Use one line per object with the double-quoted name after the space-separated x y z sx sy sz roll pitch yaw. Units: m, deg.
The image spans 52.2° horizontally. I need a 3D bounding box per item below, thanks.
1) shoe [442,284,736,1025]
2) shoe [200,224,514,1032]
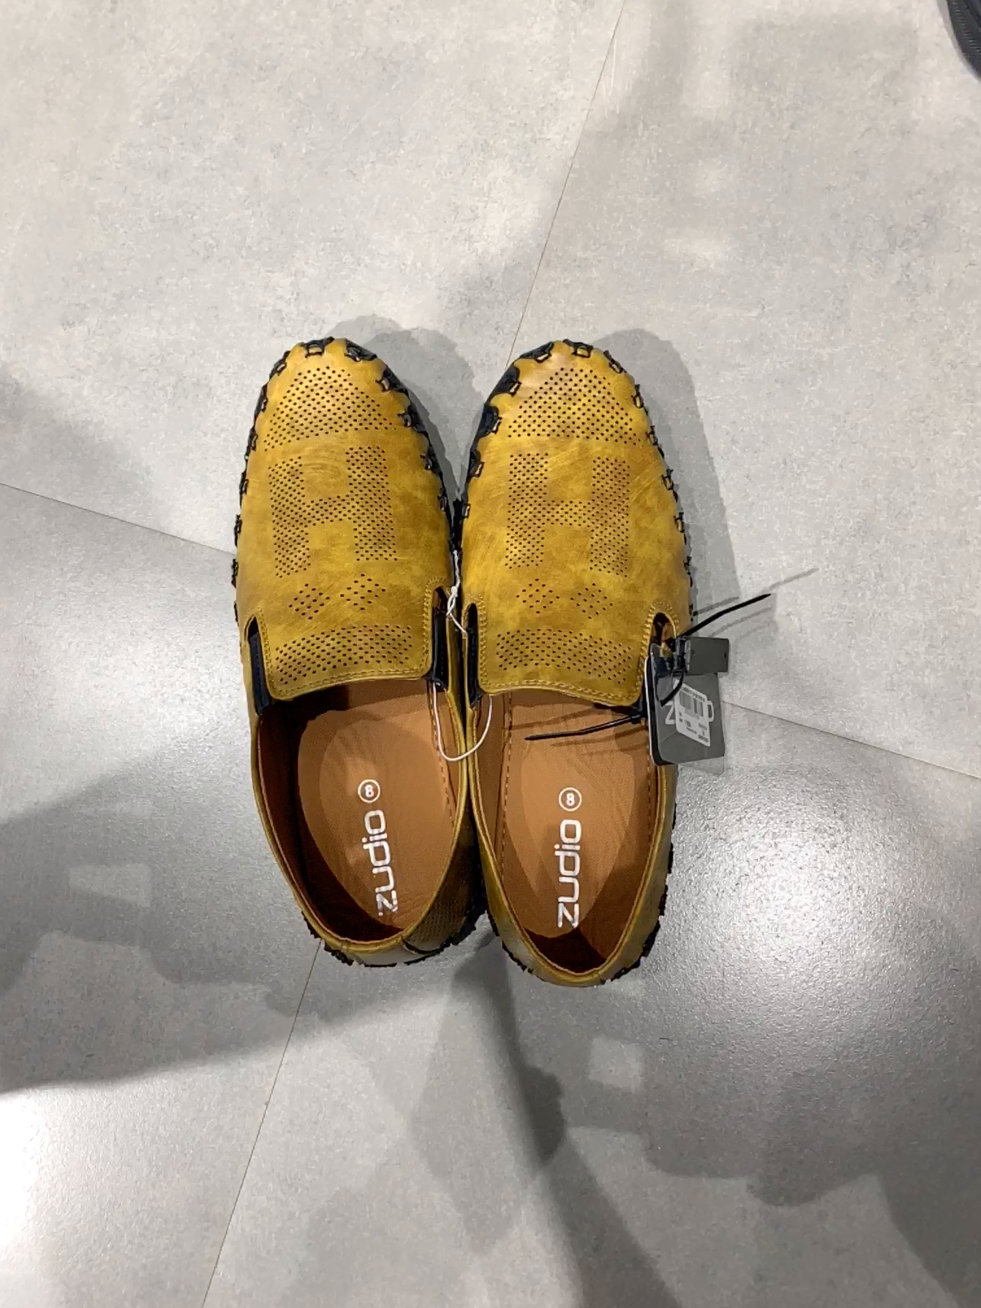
0.041 -0.001 0.433 0.110 0.080 0.290 0 83 5 "shoe"
-0.056 -0.010 0.462 0.100 0.120 0.320 -5 83 4 "shoe"
